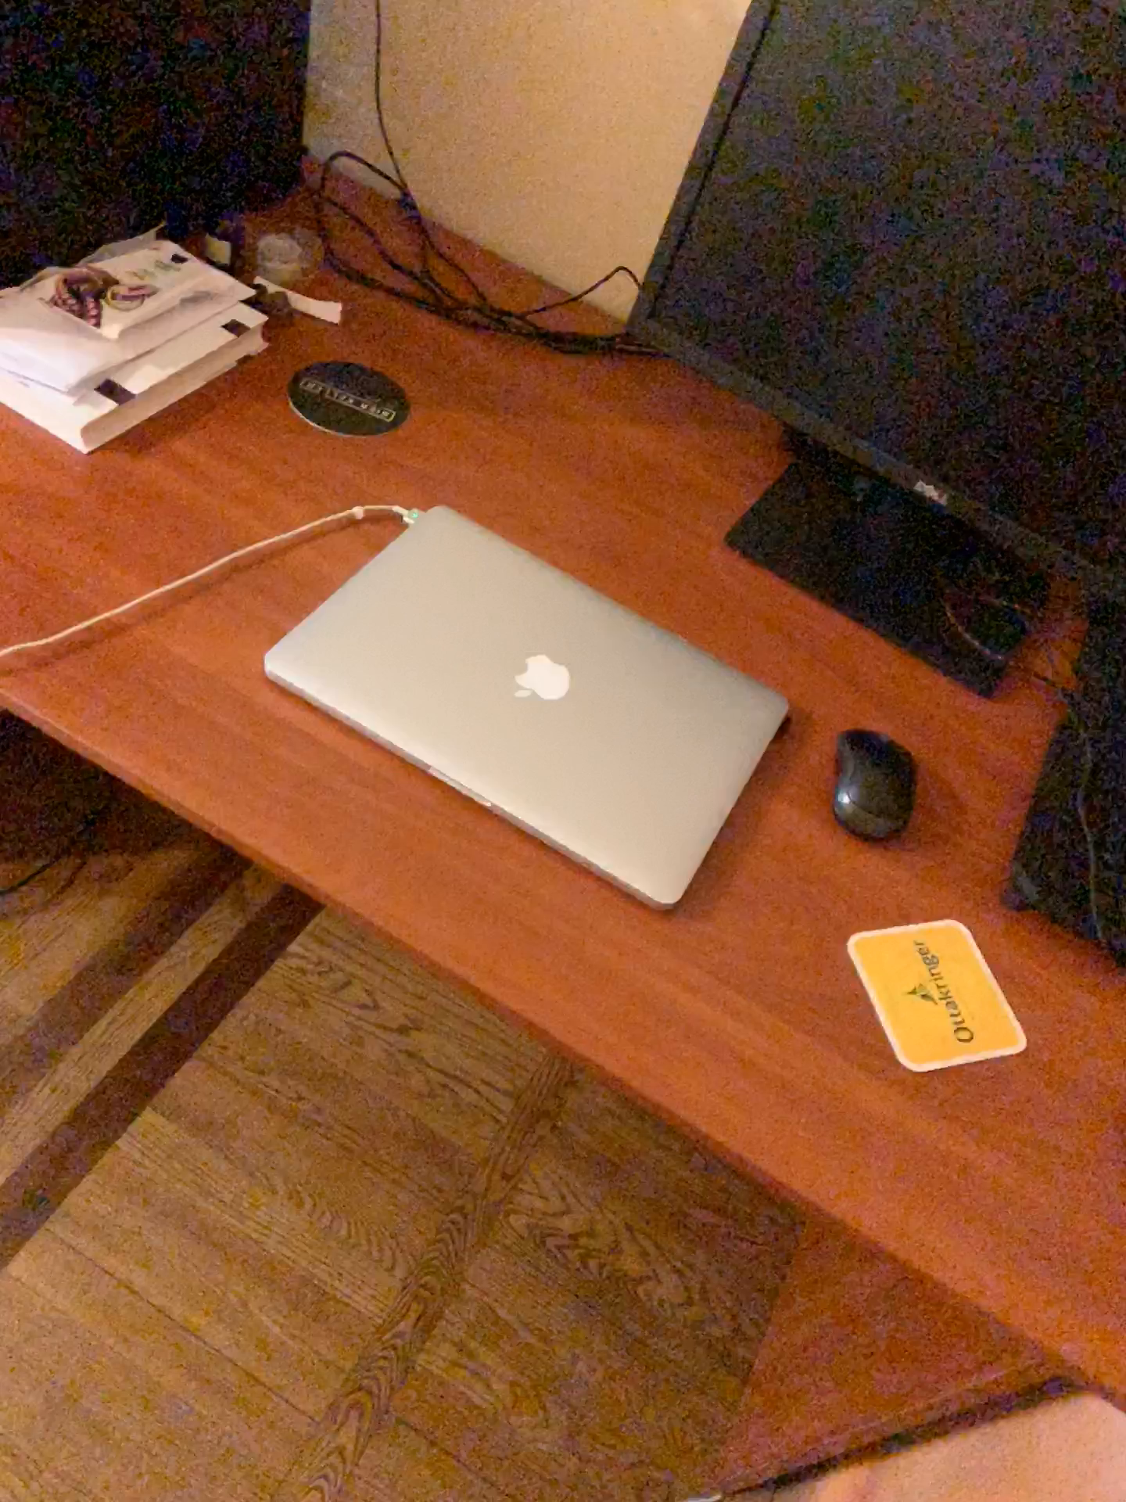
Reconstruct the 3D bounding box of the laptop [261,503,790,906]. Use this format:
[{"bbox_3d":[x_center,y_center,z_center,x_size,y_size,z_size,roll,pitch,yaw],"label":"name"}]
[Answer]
[{"bbox_3d":[-0.015,-0.048,0.784,0.305,0.001,0.214,31,50,8],"label":"laptop"}]
